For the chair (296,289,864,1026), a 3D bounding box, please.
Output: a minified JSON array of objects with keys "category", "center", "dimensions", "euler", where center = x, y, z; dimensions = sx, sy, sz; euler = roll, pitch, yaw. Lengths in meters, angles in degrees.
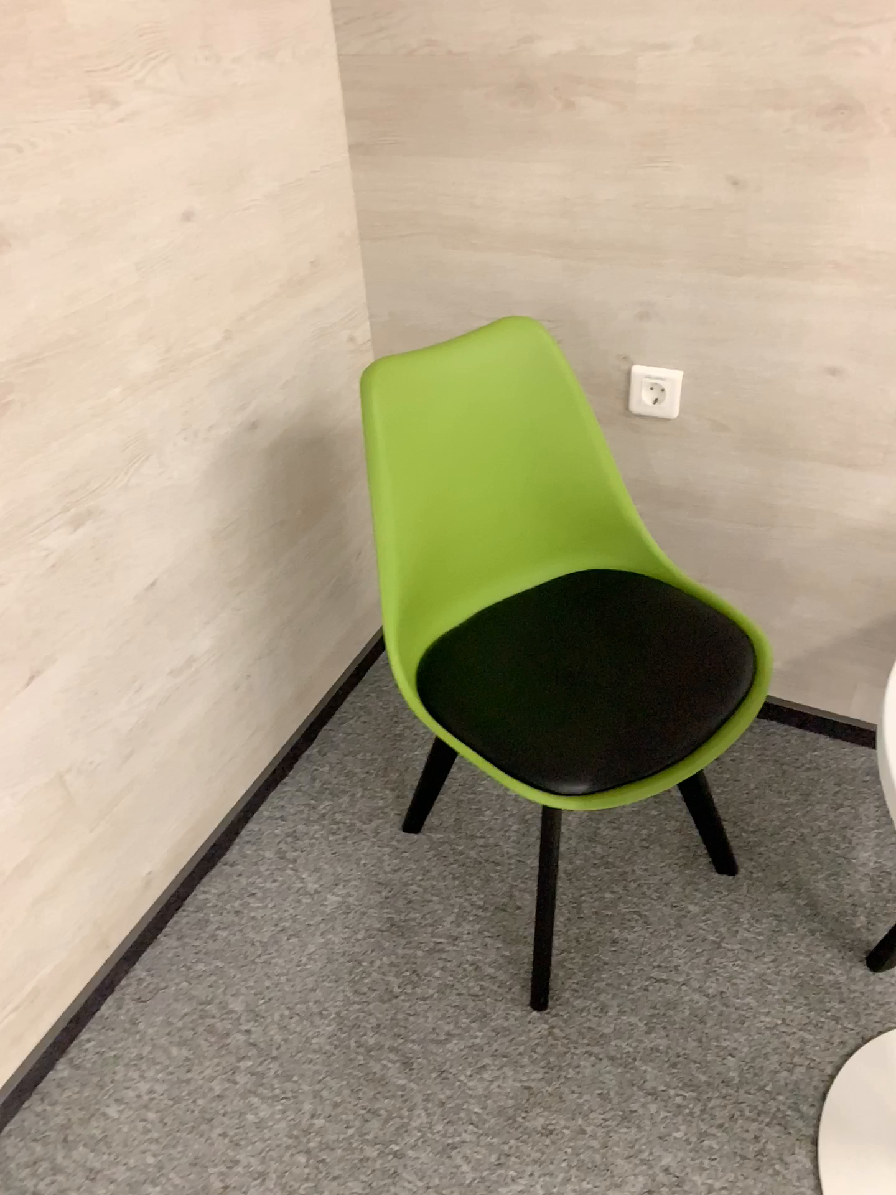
[{"category":"chair","center":[0.169,0.088,1.370],"dimensions":[0.491,0.865,0.482],"euler":[-24,41,-24]}]
